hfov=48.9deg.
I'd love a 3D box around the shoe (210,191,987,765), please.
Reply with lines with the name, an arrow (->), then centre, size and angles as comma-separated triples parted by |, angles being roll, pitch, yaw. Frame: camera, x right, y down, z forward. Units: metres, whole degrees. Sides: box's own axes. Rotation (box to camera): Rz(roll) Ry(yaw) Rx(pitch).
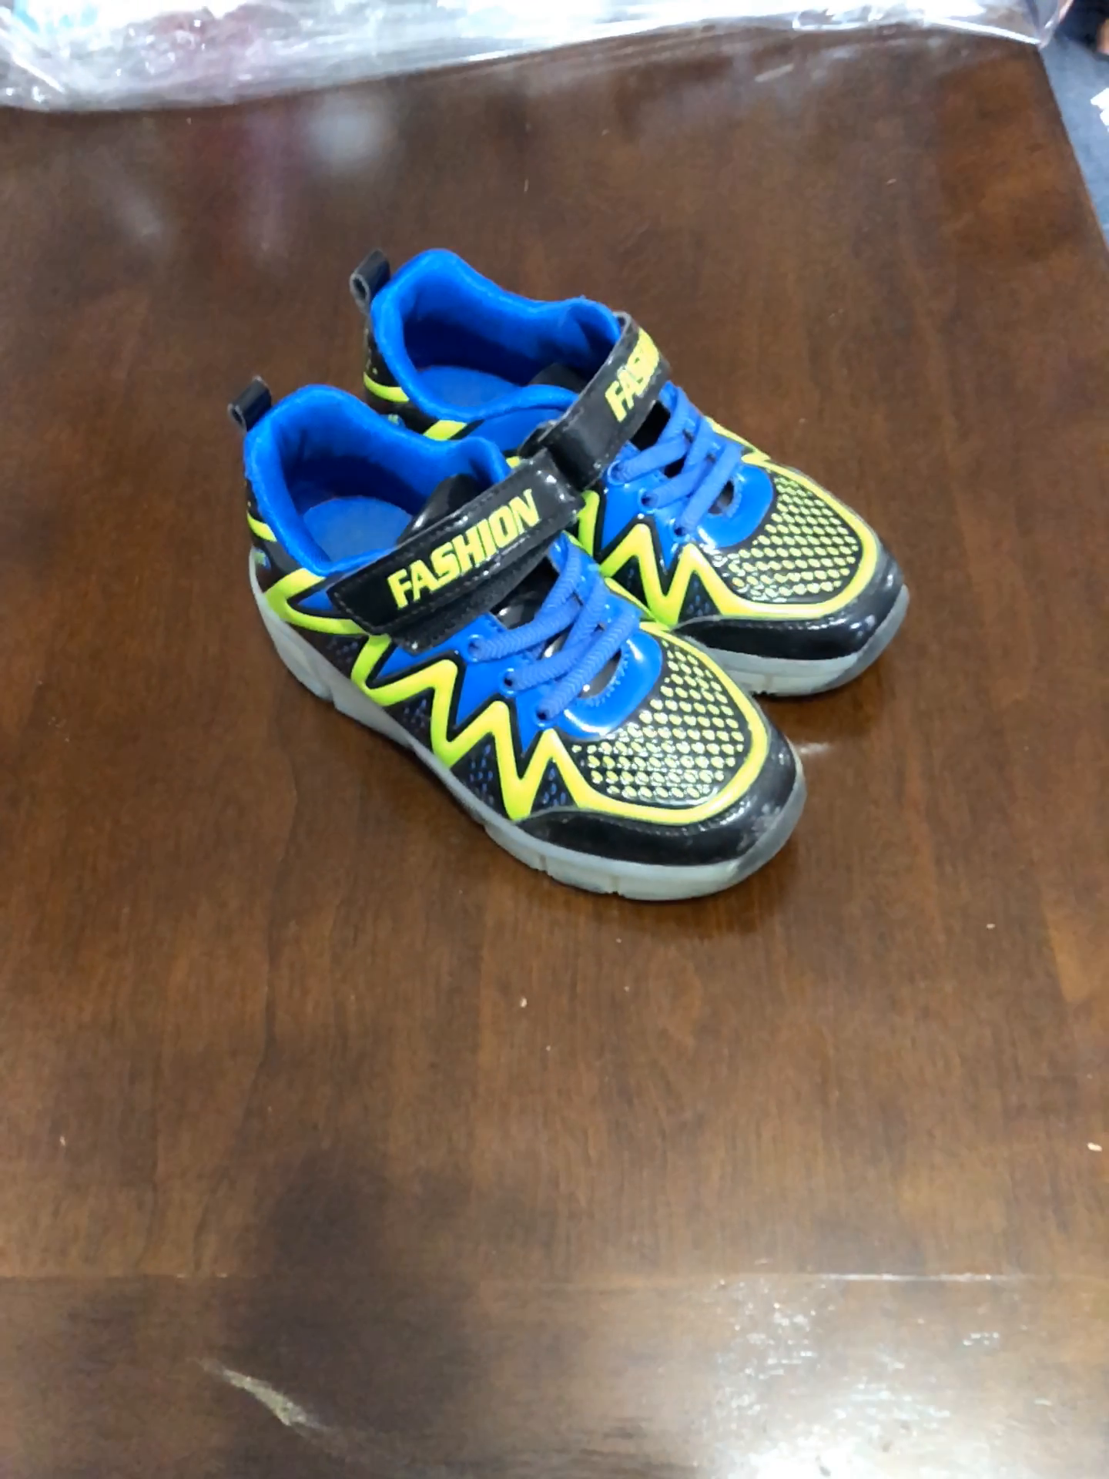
shoe -> 0.015, -0.095, 0.437 | 0.230, 0.120, 0.090 | 20, 63, 18

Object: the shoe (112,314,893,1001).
shoe -> -0.015, -0.029, 0.404 | 0.210, 0.120, 0.100 | 29, 66, 22
